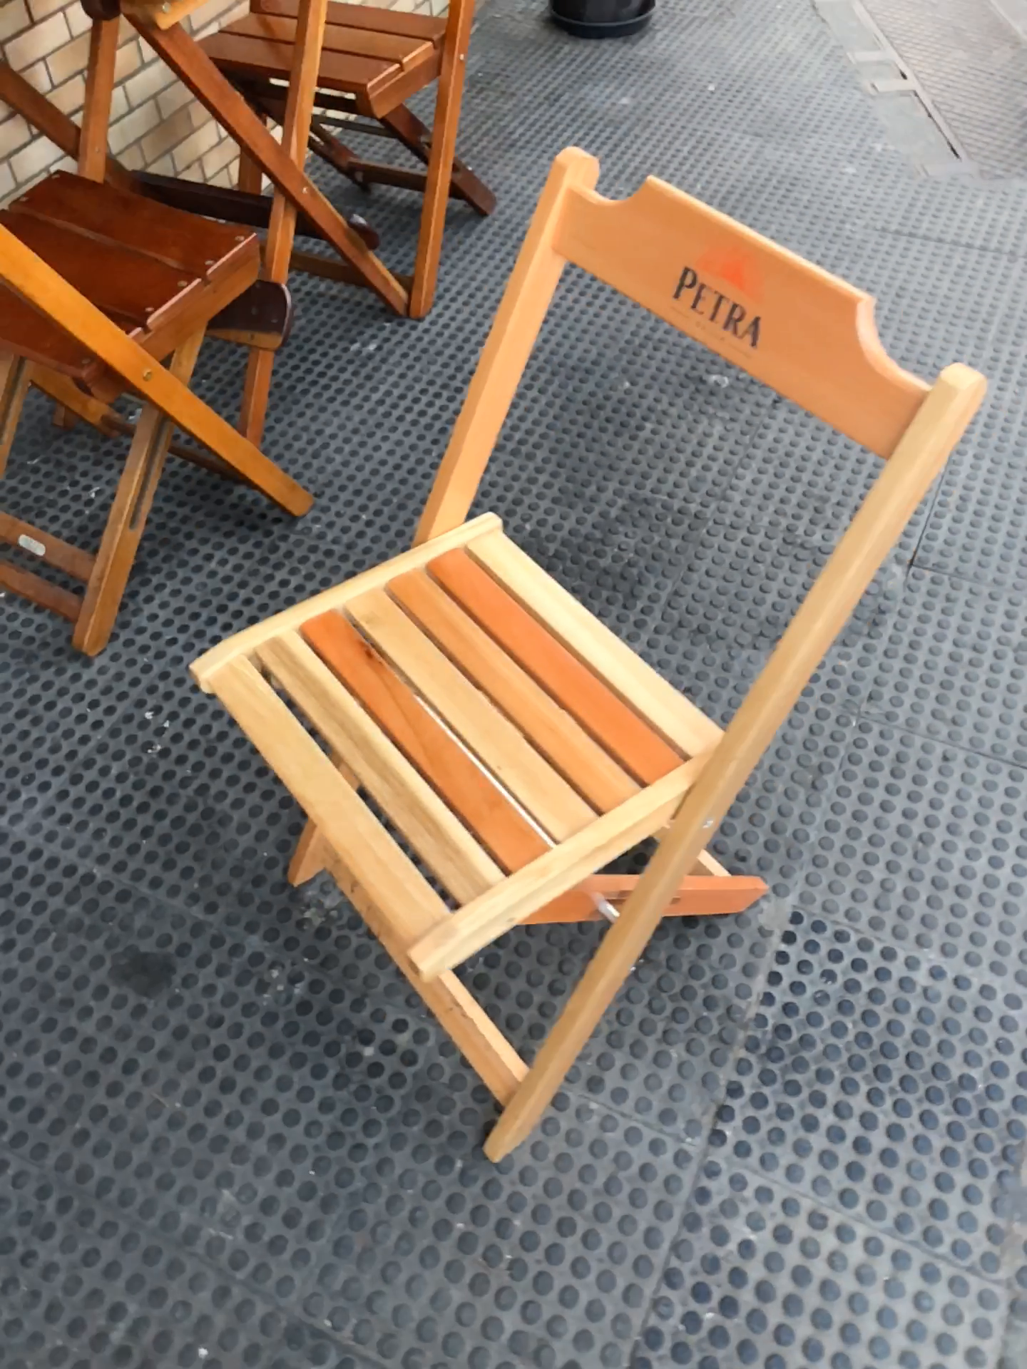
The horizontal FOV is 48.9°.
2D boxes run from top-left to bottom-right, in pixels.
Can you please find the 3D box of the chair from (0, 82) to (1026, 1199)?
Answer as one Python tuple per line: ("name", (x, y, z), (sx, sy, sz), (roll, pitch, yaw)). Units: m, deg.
("chair", (0.001, -0.005, 1.030), (0.501, 0.756, 0.482), (-32, 56, -21))
